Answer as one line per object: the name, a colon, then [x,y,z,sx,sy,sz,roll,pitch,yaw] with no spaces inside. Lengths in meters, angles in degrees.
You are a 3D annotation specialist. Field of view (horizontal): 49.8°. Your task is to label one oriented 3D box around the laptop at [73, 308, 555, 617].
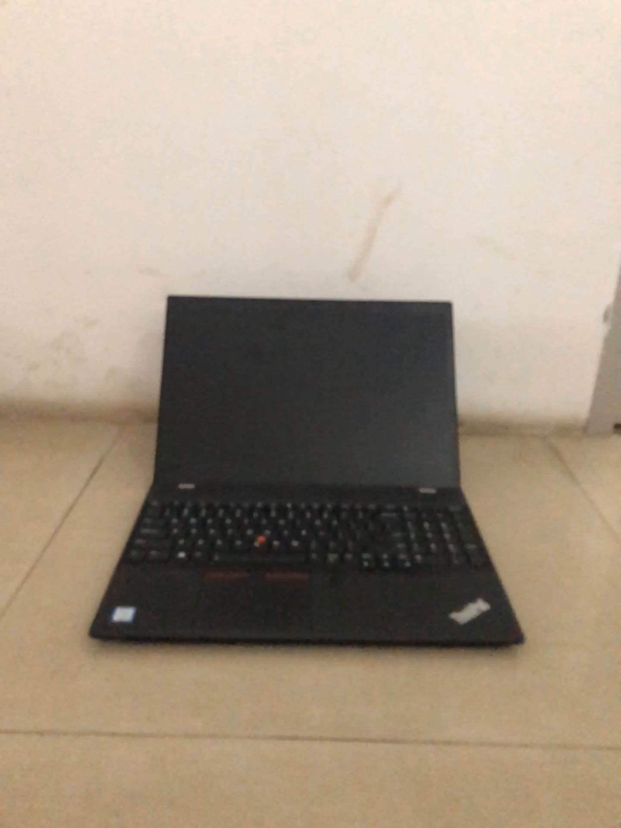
laptop: [-0.006,0.020,0.688,0.344,0.192,0.364,2,18,-3]
